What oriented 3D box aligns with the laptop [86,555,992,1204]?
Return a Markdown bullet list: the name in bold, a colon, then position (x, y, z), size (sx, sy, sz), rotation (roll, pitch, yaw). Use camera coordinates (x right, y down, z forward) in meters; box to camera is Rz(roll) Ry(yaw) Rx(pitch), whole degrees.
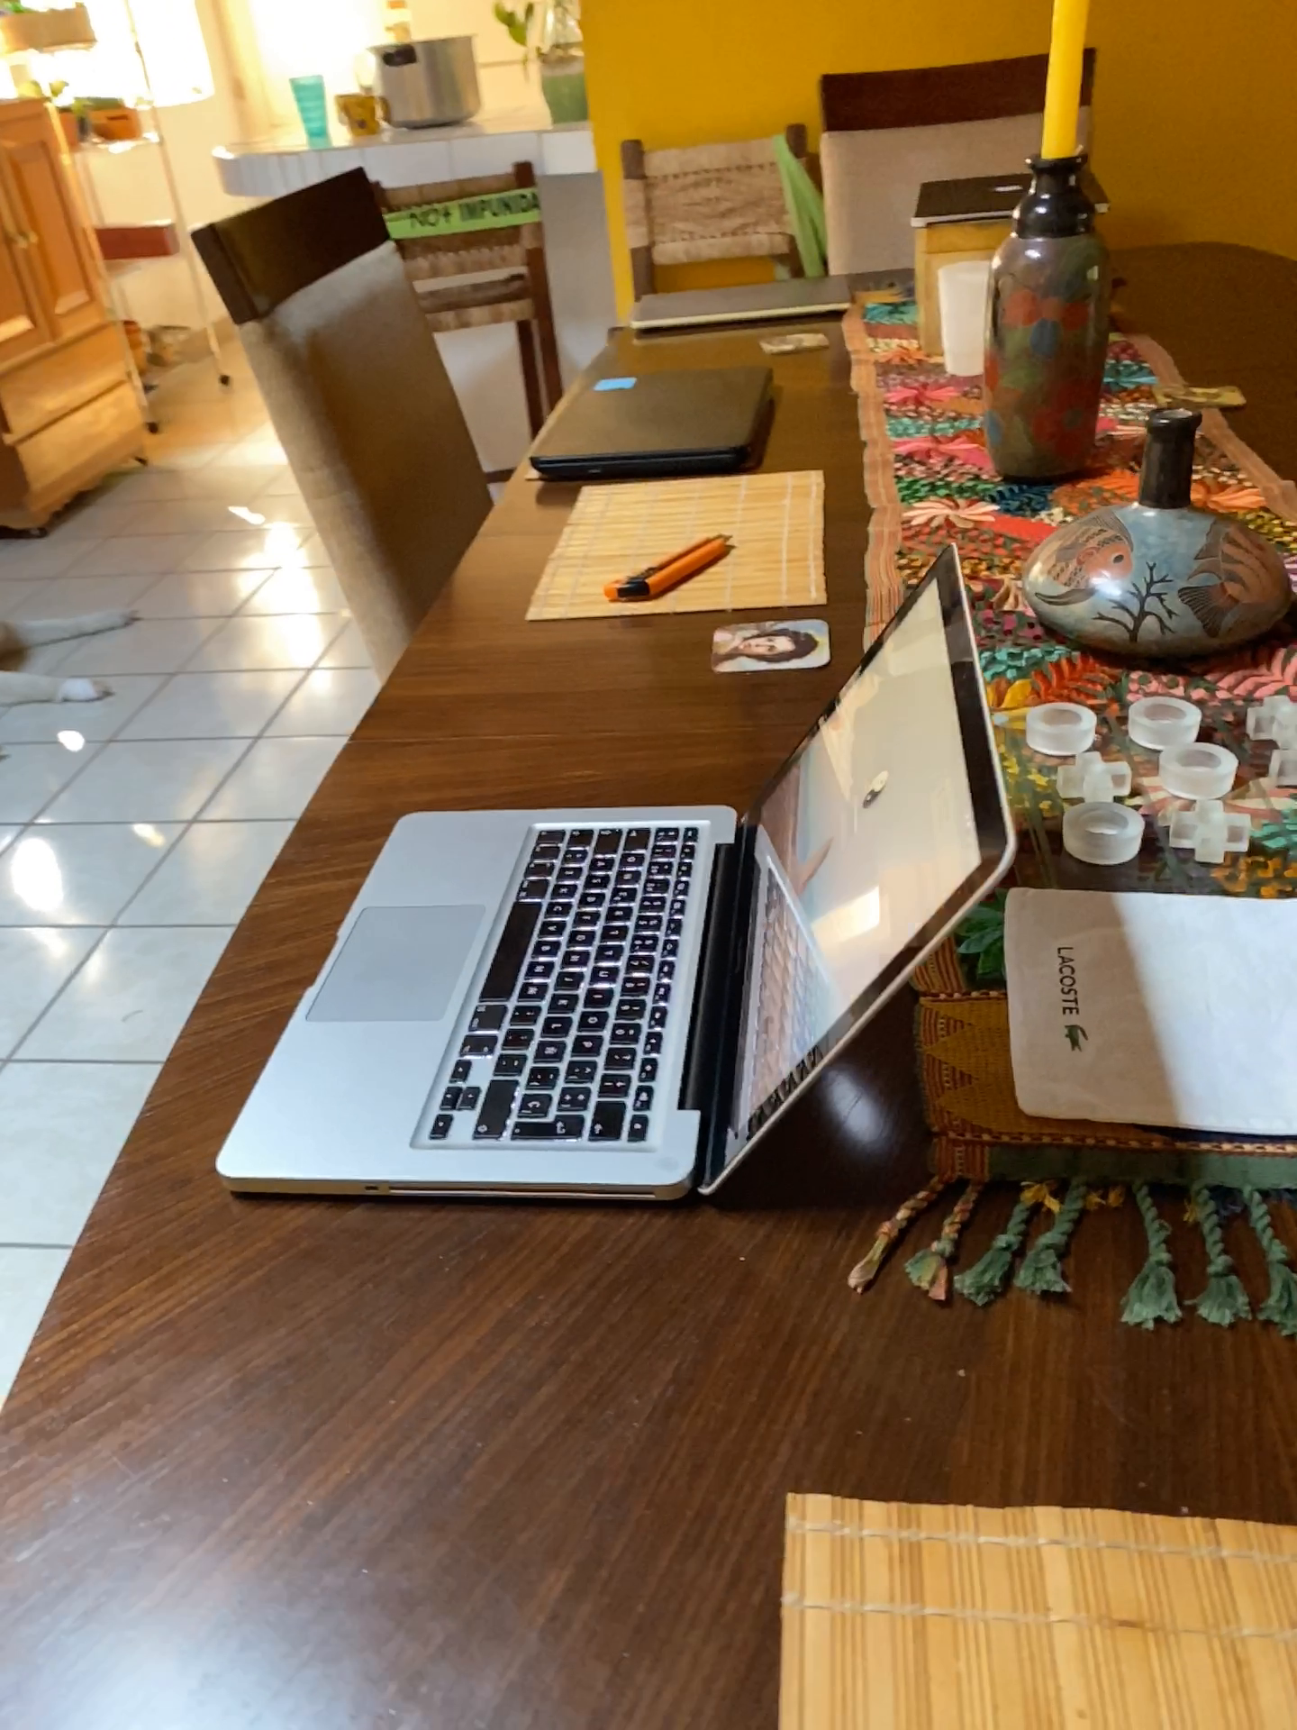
- **laptop**: position (-0.024, -0.014, 0.688), size (0.357, 0.170, 0.326), rotation (-1, 33, 9)
